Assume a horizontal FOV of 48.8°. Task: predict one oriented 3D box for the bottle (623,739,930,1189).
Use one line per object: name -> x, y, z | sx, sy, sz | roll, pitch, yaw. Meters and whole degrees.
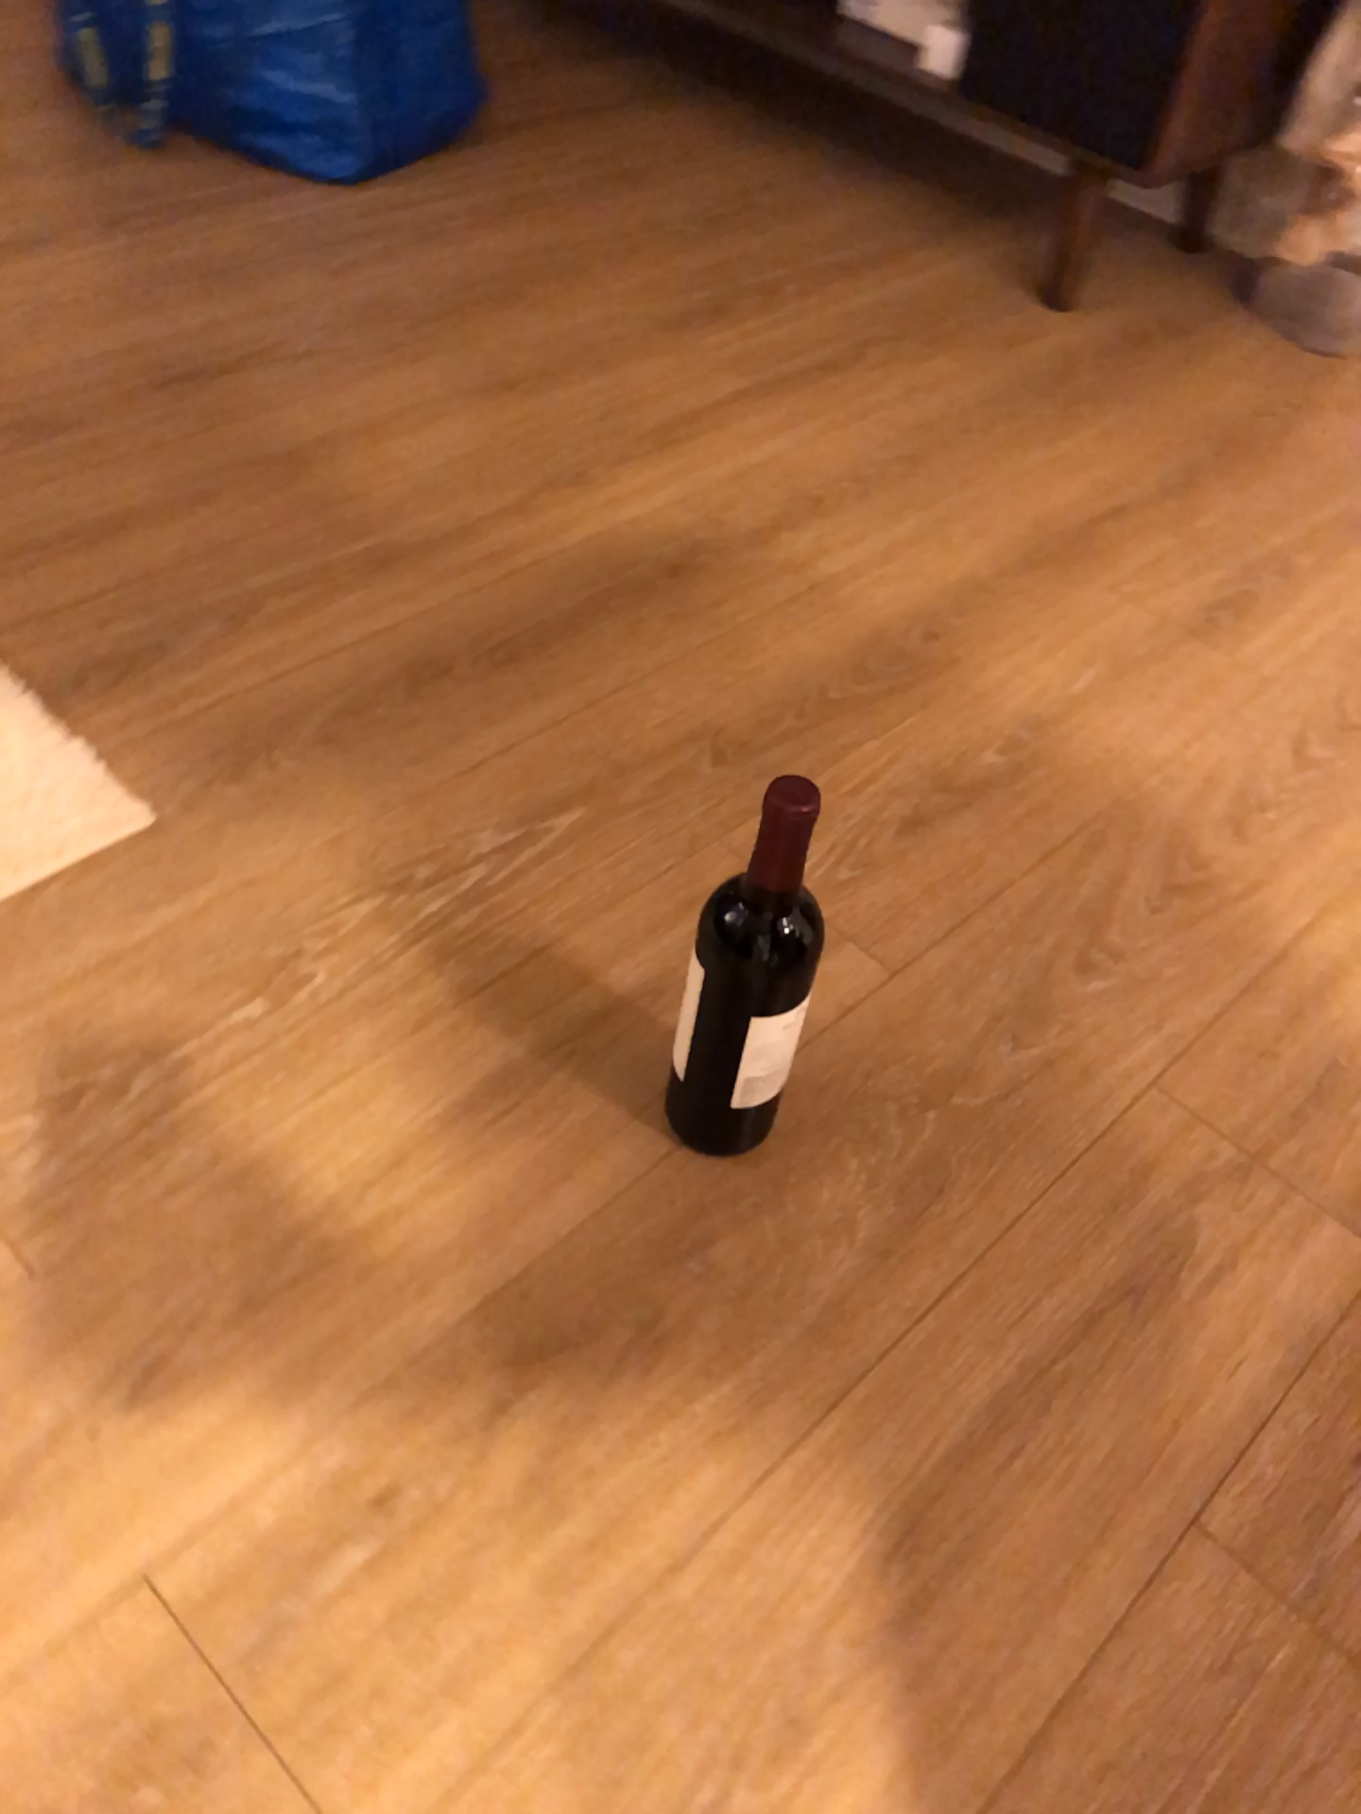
bottle -> 0.049, 0.041, 0.919 | 0.110, 0.258, 0.100 | -19, 52, -26
